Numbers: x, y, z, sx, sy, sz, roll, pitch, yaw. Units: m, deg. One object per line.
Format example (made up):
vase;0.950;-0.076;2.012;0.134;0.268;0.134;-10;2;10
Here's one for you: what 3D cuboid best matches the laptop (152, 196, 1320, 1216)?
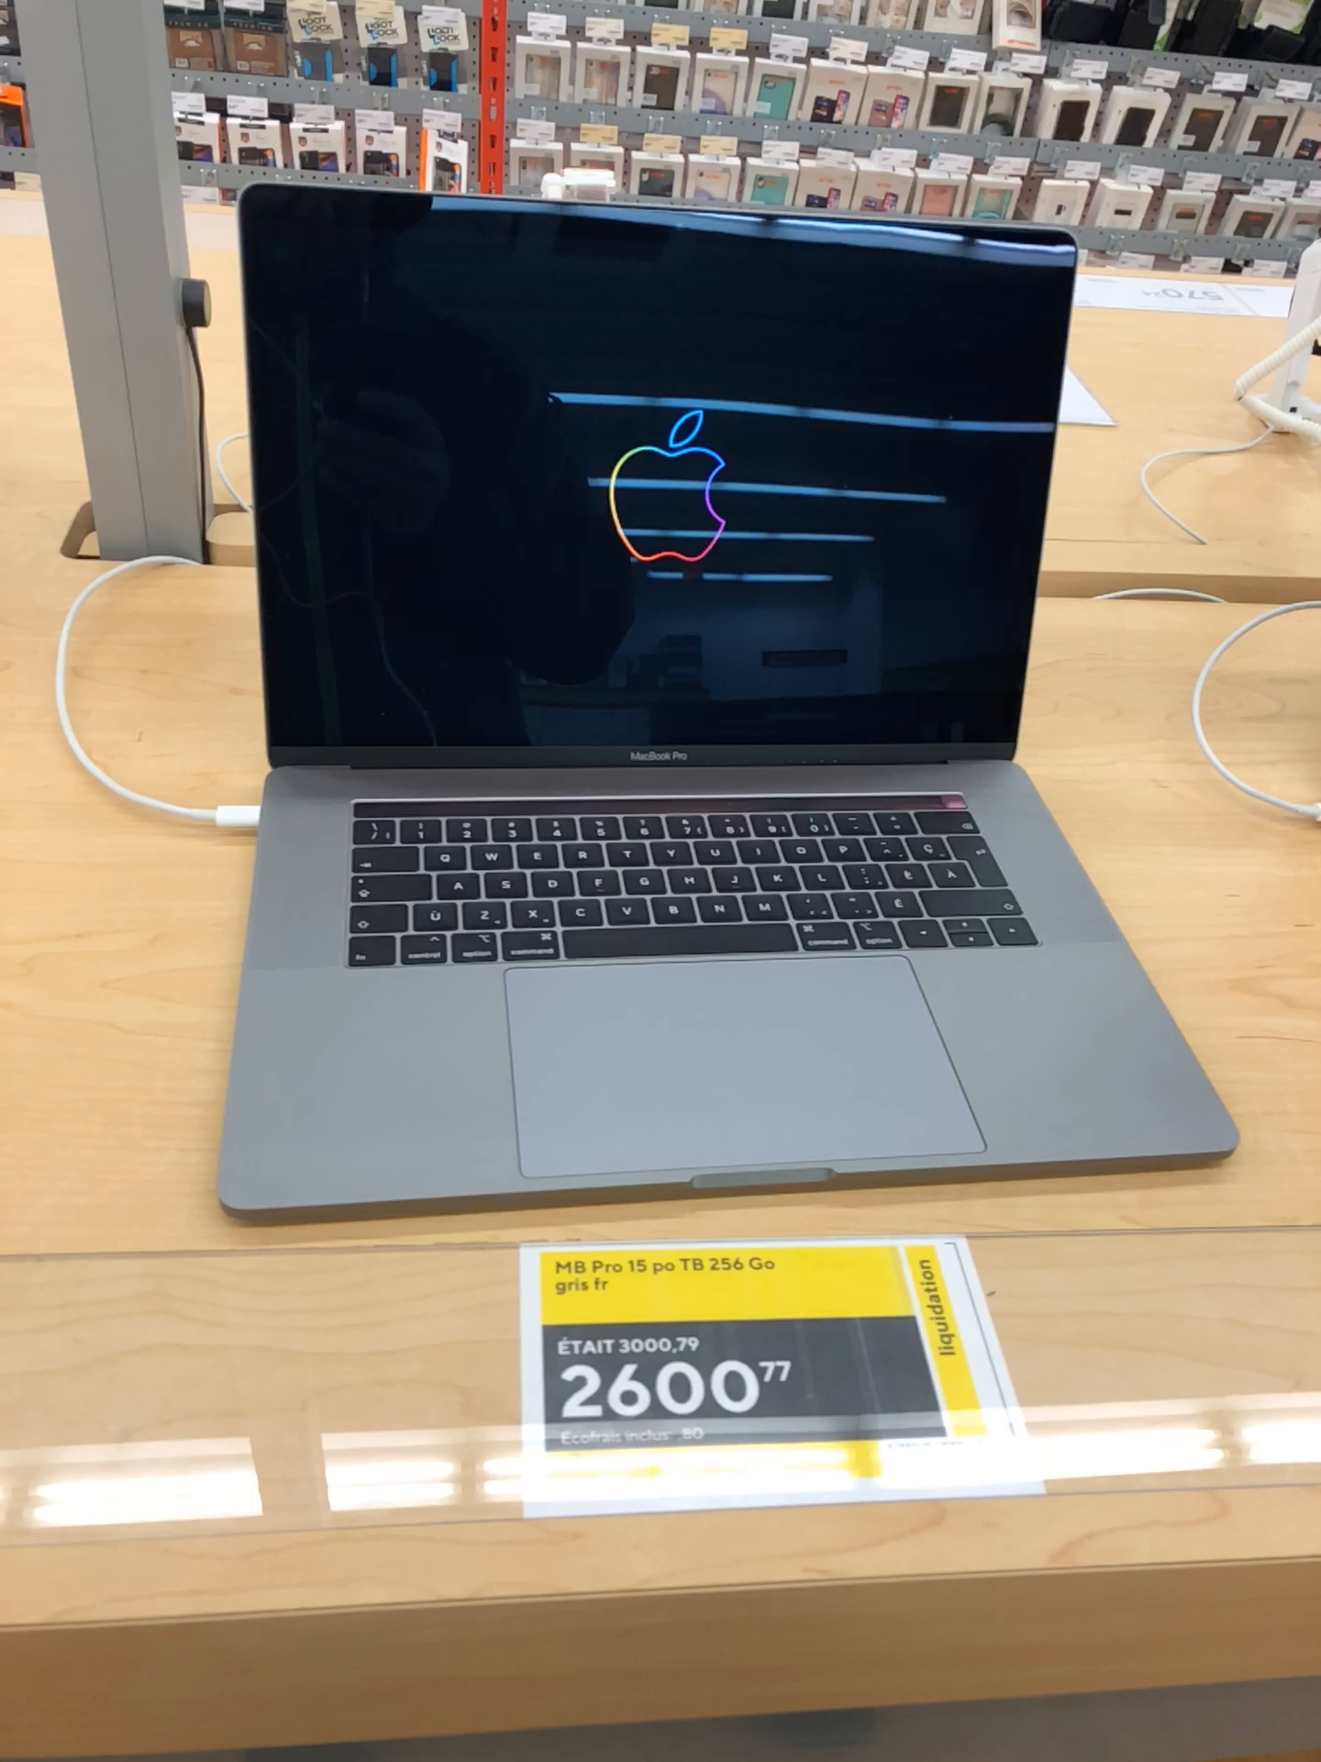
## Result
laptop;0.023;-0.082;0.519;0.329;0.212;0.299;-1;39;-11
